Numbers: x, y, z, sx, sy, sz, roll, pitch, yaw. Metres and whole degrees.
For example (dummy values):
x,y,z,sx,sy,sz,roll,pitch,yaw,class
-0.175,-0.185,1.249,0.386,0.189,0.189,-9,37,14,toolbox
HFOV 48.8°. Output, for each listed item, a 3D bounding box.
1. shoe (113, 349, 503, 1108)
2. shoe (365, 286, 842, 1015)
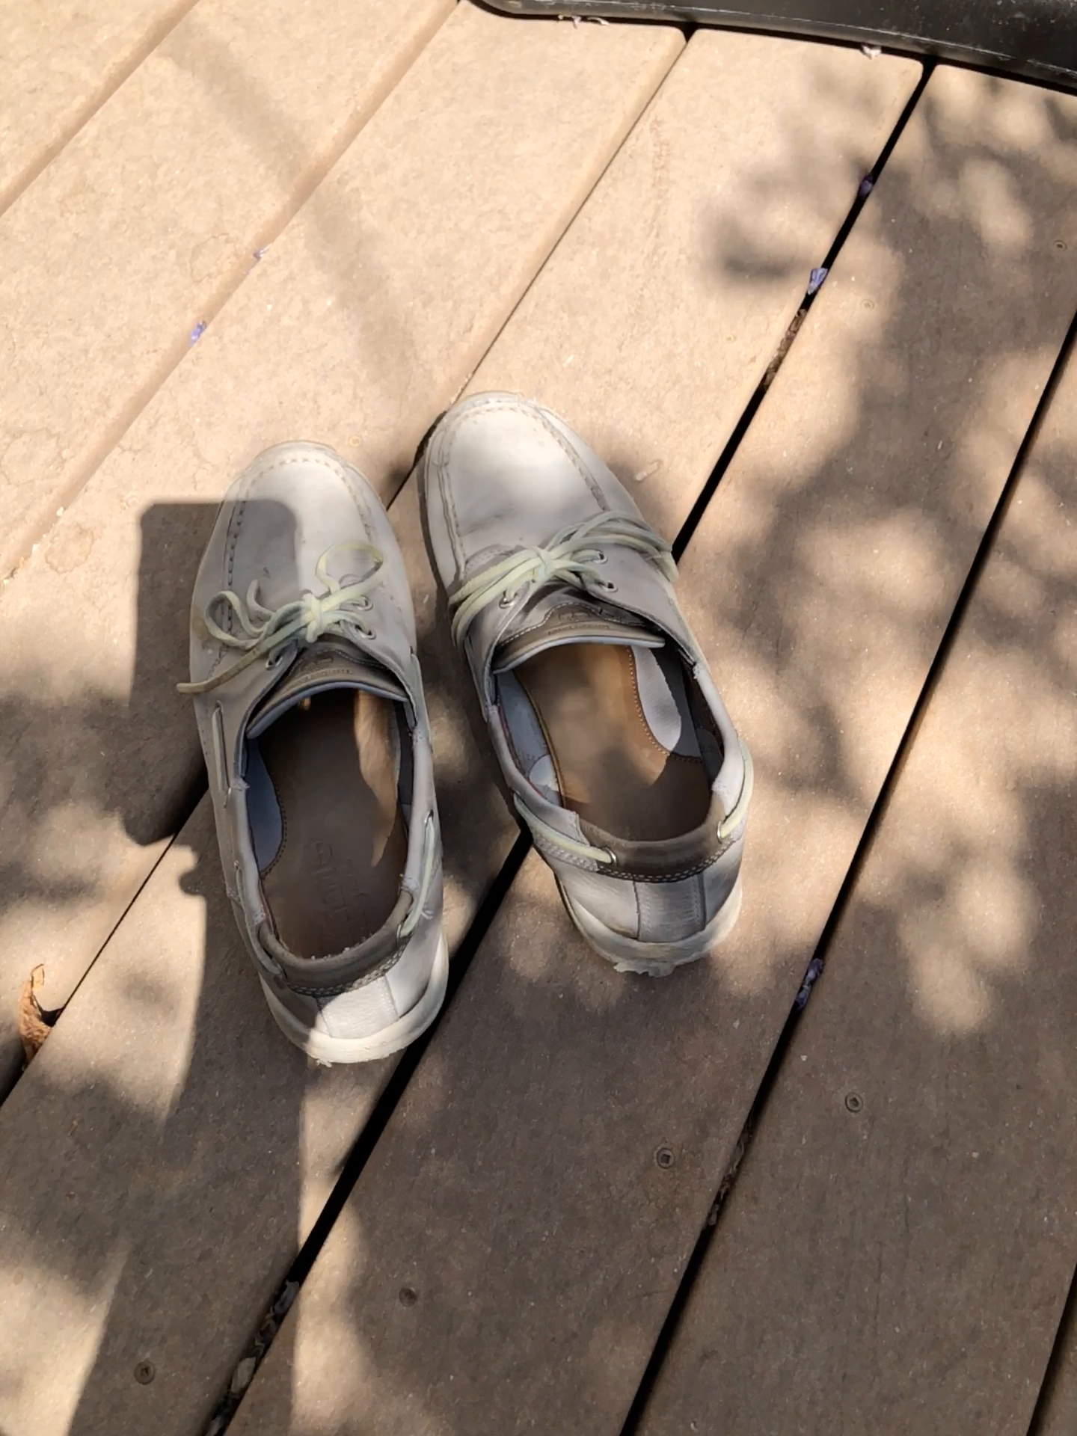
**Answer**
x,y,z,sx,sy,sz,roll,pitch,yaw,class
-0.098,-0.005,0.491,0.109,0.076,0.294,-11,67,-6,shoe
0.015,-0.038,0.509,0.109,0.076,0.294,-14,67,-7,shoe
